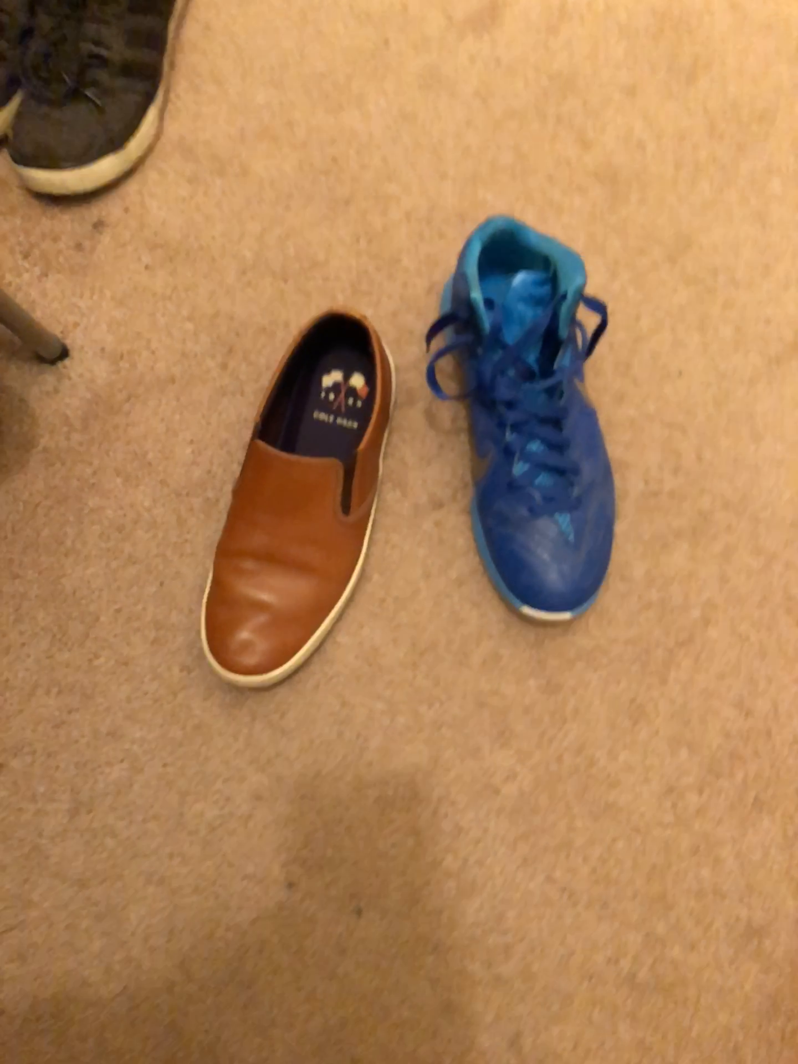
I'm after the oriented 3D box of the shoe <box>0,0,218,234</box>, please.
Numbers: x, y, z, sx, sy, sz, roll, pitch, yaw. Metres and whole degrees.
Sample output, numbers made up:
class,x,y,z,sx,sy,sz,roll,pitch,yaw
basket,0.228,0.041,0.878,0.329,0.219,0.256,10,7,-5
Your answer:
class,x,y,z,sx,sy,sz,roll,pitch,yaw
shoe,-0.243,-0.409,0.708,0.115,0.113,0.292,9,78,2

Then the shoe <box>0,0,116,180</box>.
class,x,y,z,sx,sy,sz,roll,pitch,yaw
shoe,-0.337,-0.455,0.713,0.115,0.113,0.292,9,78,2

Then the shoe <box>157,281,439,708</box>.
class,x,y,z,sx,sy,sz,roll,pitch,yaw
shoe,-0.065,-0.025,0.645,0.105,0.083,0.282,18,79,4

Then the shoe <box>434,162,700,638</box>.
class,x,y,z,sx,sy,sz,roll,pitch,yaw
shoe,0.104,-0.084,0.629,0.115,0.143,0.292,-7,78,-1
